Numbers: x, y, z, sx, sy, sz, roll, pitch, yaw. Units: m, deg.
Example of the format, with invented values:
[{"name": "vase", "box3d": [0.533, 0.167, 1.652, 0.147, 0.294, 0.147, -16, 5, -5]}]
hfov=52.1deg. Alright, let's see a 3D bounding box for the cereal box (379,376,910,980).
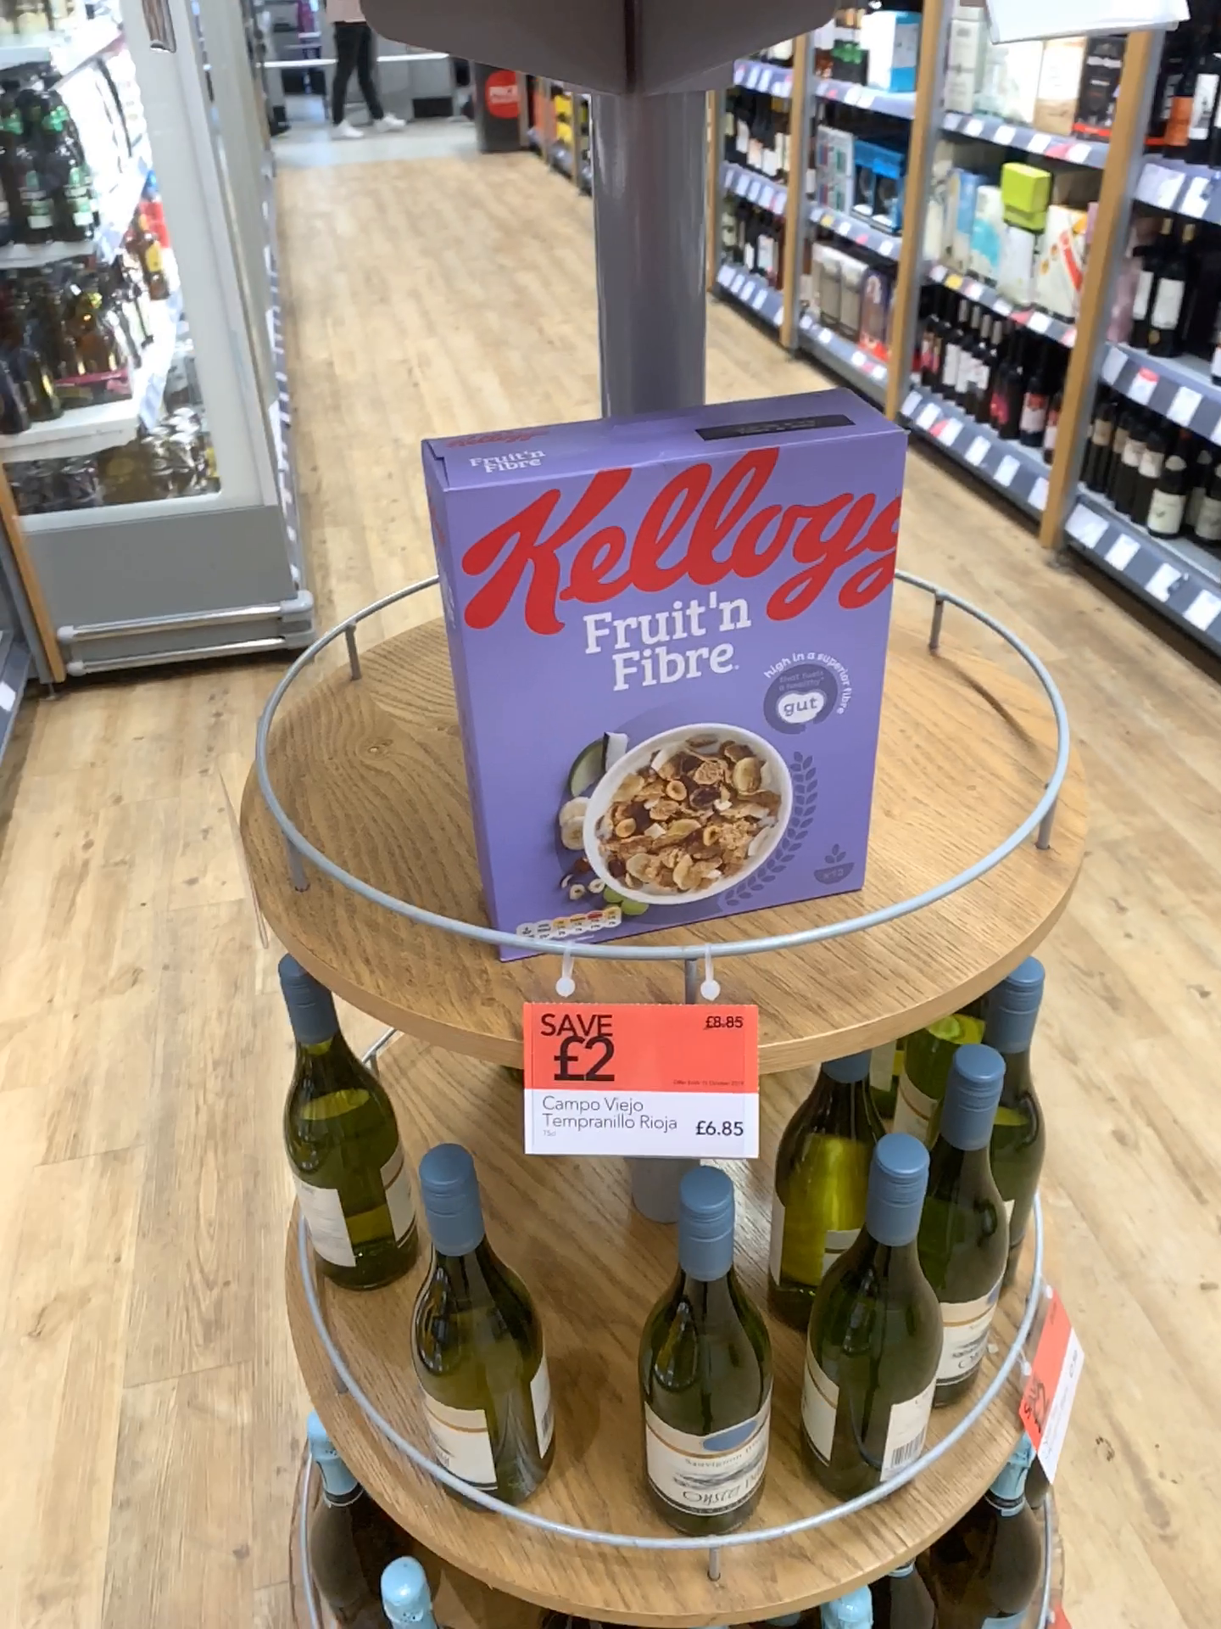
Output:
[{"name": "cereal box", "box3d": [0.015, -0.057, 0.564, 0.200, 0.238, 0.071, -10, 35, -11]}]
